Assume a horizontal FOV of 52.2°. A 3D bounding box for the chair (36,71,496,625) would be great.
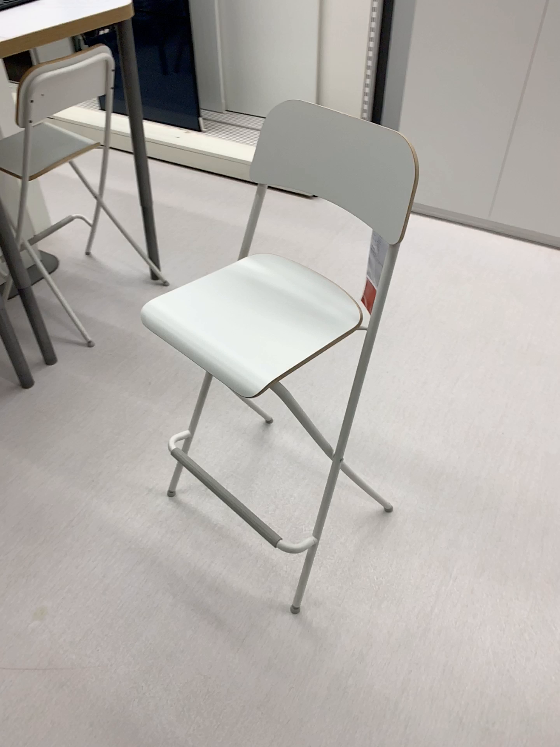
[{"bbox_3d":[-0.021,-0.023,1.220,0.521,0.936,0.501,34,53,30],"label":"chair"}]
